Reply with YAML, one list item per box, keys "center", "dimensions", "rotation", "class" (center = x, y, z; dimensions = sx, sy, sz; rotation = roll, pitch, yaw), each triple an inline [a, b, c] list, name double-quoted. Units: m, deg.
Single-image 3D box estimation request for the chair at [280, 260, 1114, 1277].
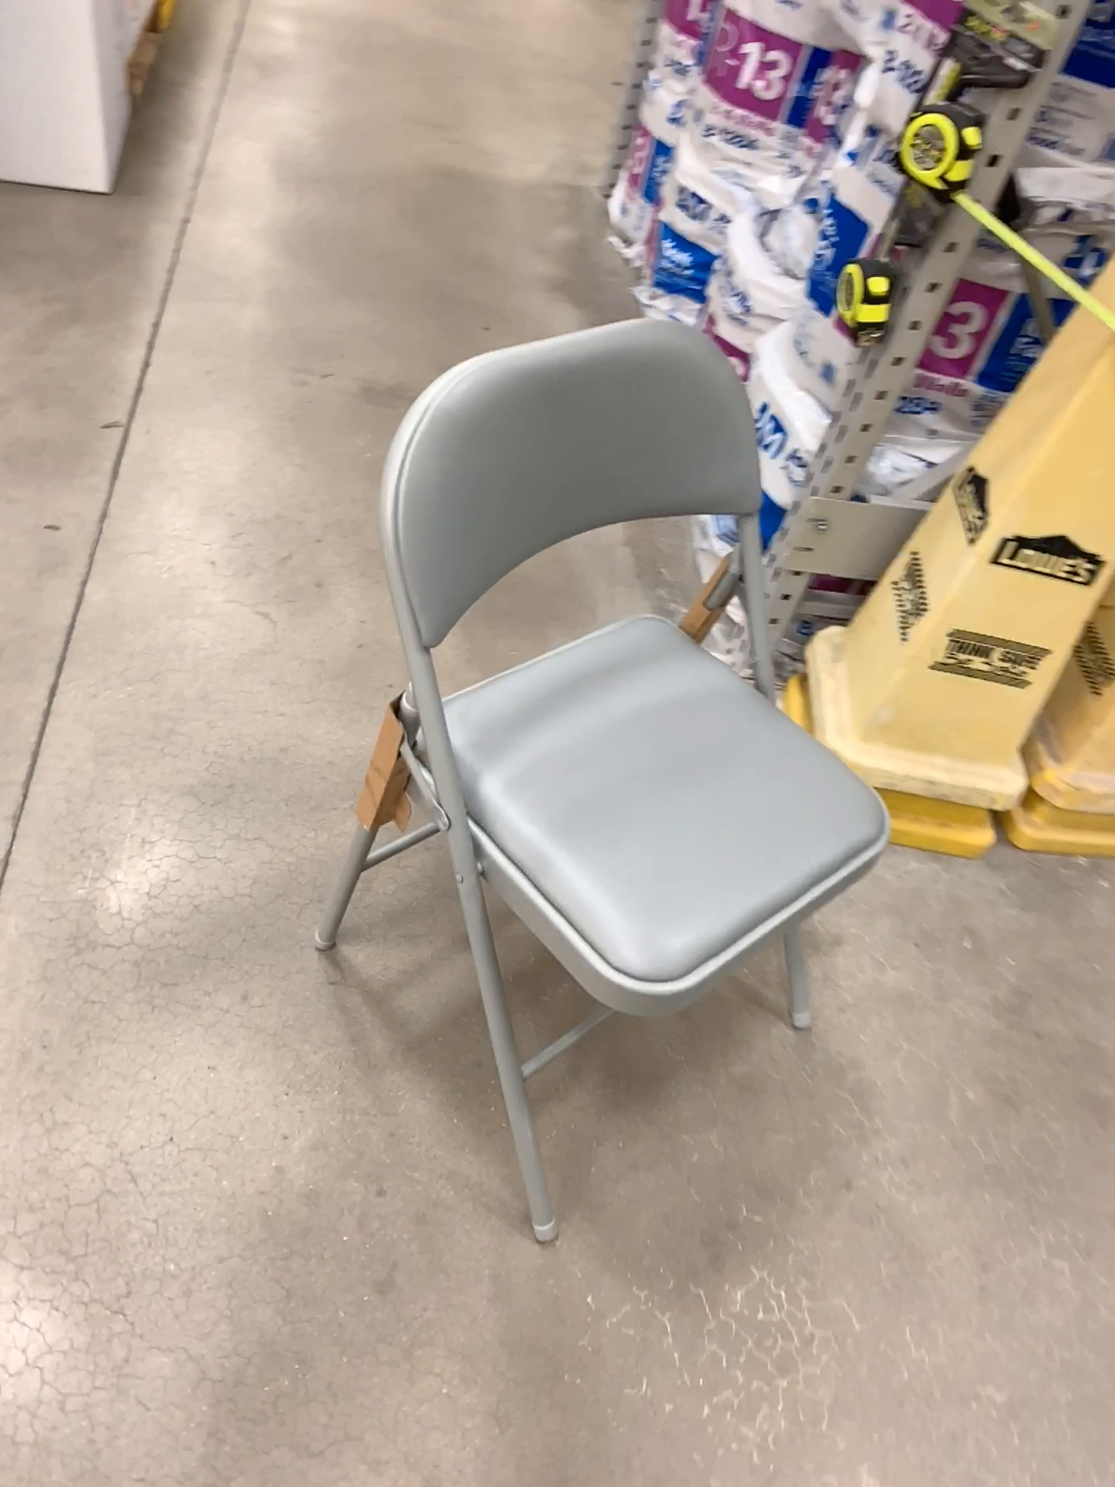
- center: [0.088, 0.030, 1.073]
  dimensions: [0.488, 0.709, 0.485]
  rotation: [-26, 59, -34]
  class: "chair"
